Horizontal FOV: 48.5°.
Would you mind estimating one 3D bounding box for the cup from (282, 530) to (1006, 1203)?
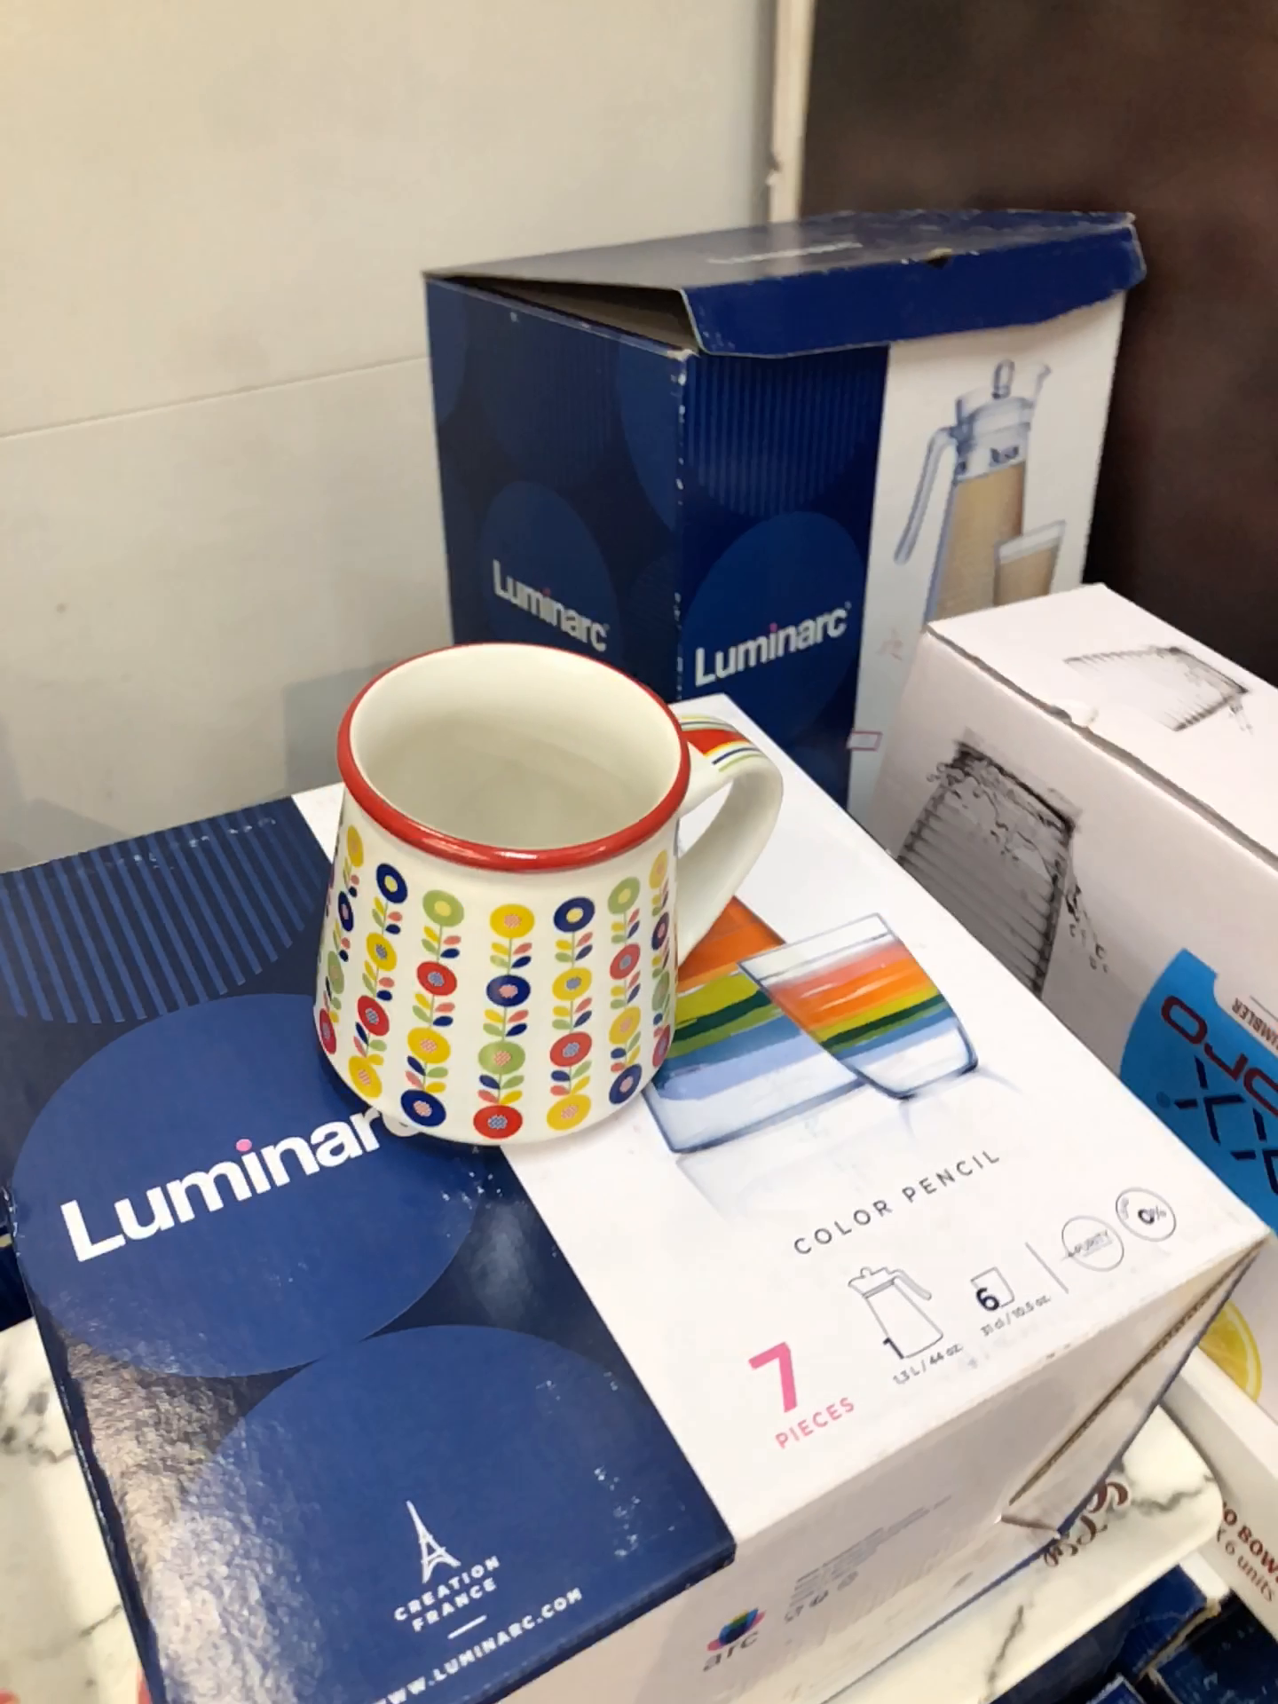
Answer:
[{"bbox_3d":[-0.001,-0.002,0.328,0.130,0.089,0.080,-21,49,-26],"label":"cup"}]
